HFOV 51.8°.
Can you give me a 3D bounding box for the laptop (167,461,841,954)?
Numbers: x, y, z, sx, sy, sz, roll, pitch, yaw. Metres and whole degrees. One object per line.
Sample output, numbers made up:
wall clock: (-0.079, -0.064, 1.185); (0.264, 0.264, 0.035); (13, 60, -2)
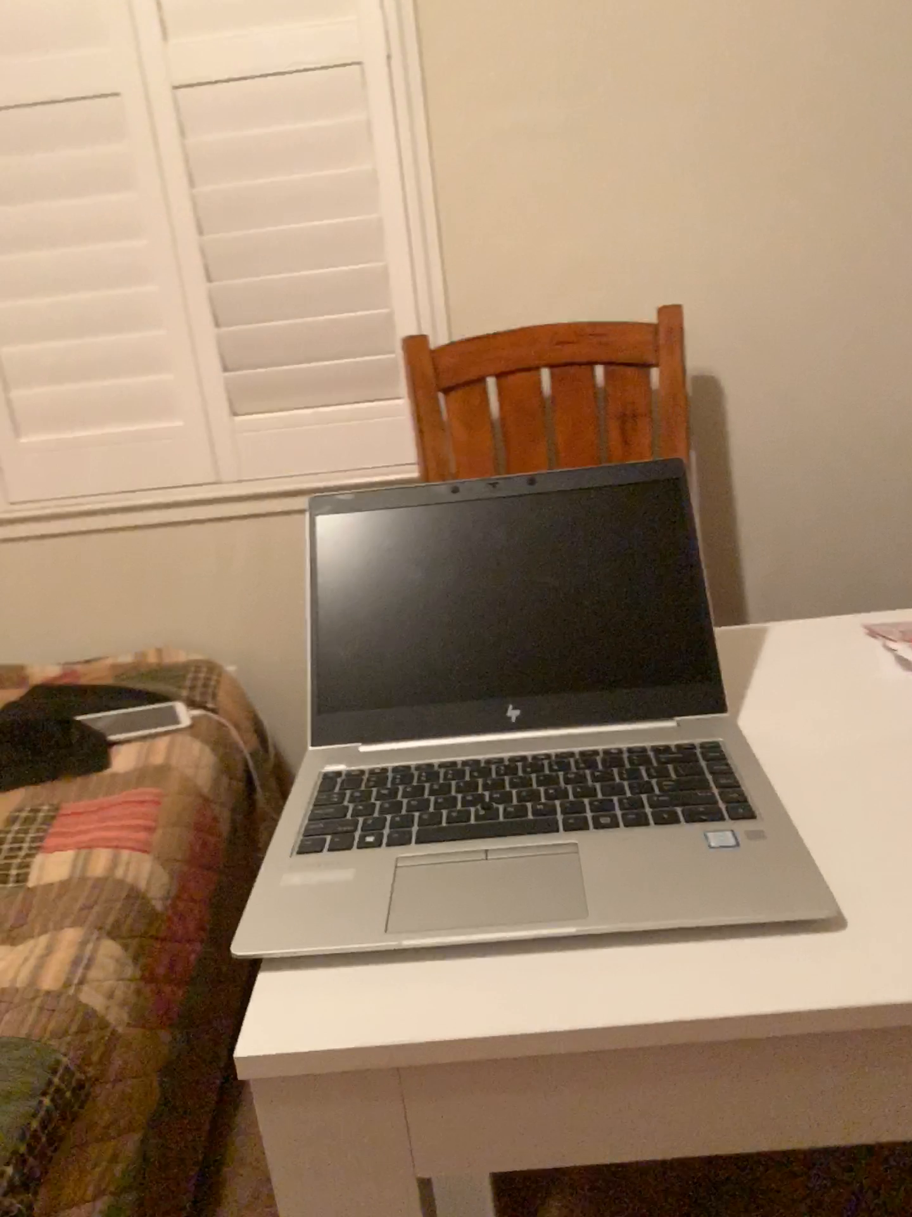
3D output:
laptop: (0.034, 0.029, 0.626); (0.310, 0.159, 0.366); (-5, 18, 3)
